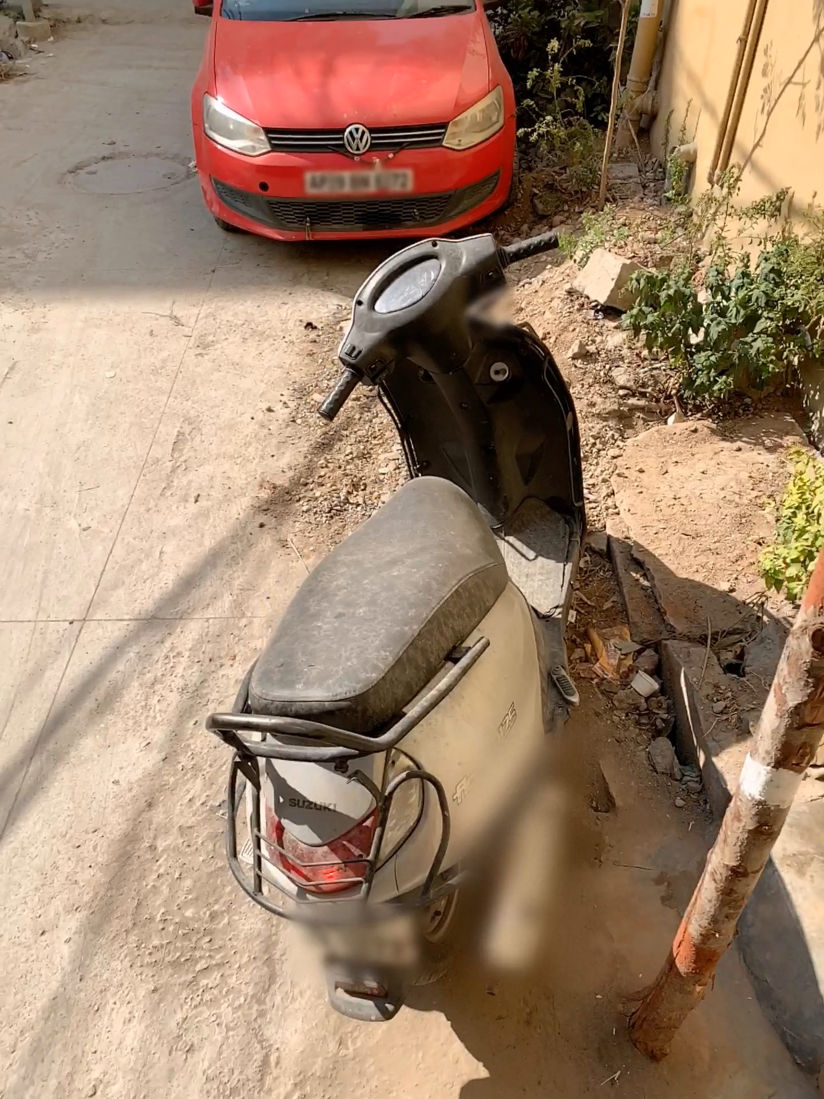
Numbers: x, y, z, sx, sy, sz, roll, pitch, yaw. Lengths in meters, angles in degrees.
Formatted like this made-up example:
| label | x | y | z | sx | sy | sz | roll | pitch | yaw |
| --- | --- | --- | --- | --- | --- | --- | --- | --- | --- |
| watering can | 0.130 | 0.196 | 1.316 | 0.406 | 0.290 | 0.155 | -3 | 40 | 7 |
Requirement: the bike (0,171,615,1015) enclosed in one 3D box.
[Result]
| label | x | y | z | sx | sy | sz | roll | pitch | yaw |
| --- | --- | --- | --- | --- | --- | --- | --- | --- | --- |
| bike | -0.003 | -0.044 | 1.799 | 0.549 | 1.001 | 1.514 | 11 | 42 | 12 |
